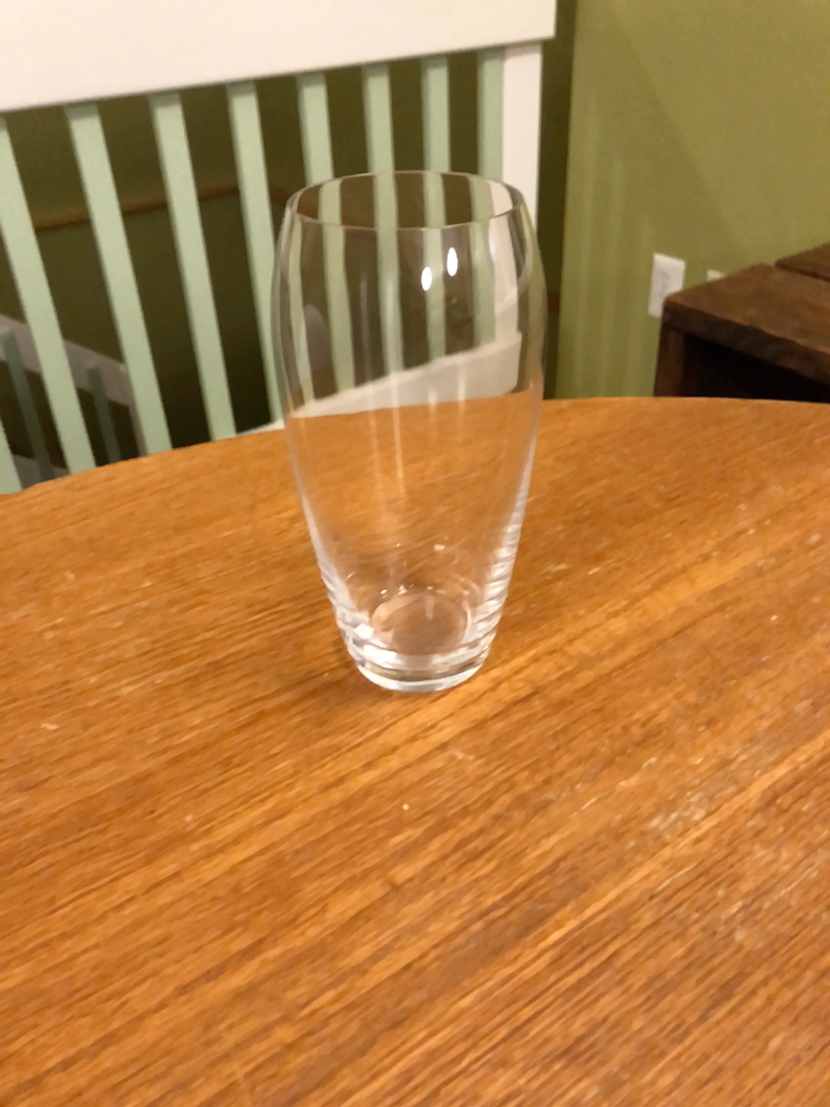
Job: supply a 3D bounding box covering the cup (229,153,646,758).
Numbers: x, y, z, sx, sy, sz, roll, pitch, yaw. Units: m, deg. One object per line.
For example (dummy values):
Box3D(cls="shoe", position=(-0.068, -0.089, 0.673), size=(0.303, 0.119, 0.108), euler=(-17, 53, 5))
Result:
Box3D(cls="cup", position=(0.007, -0.033, 0.295), size=(0.081, 0.156, 0.082), euler=(-2, 34, 1))
